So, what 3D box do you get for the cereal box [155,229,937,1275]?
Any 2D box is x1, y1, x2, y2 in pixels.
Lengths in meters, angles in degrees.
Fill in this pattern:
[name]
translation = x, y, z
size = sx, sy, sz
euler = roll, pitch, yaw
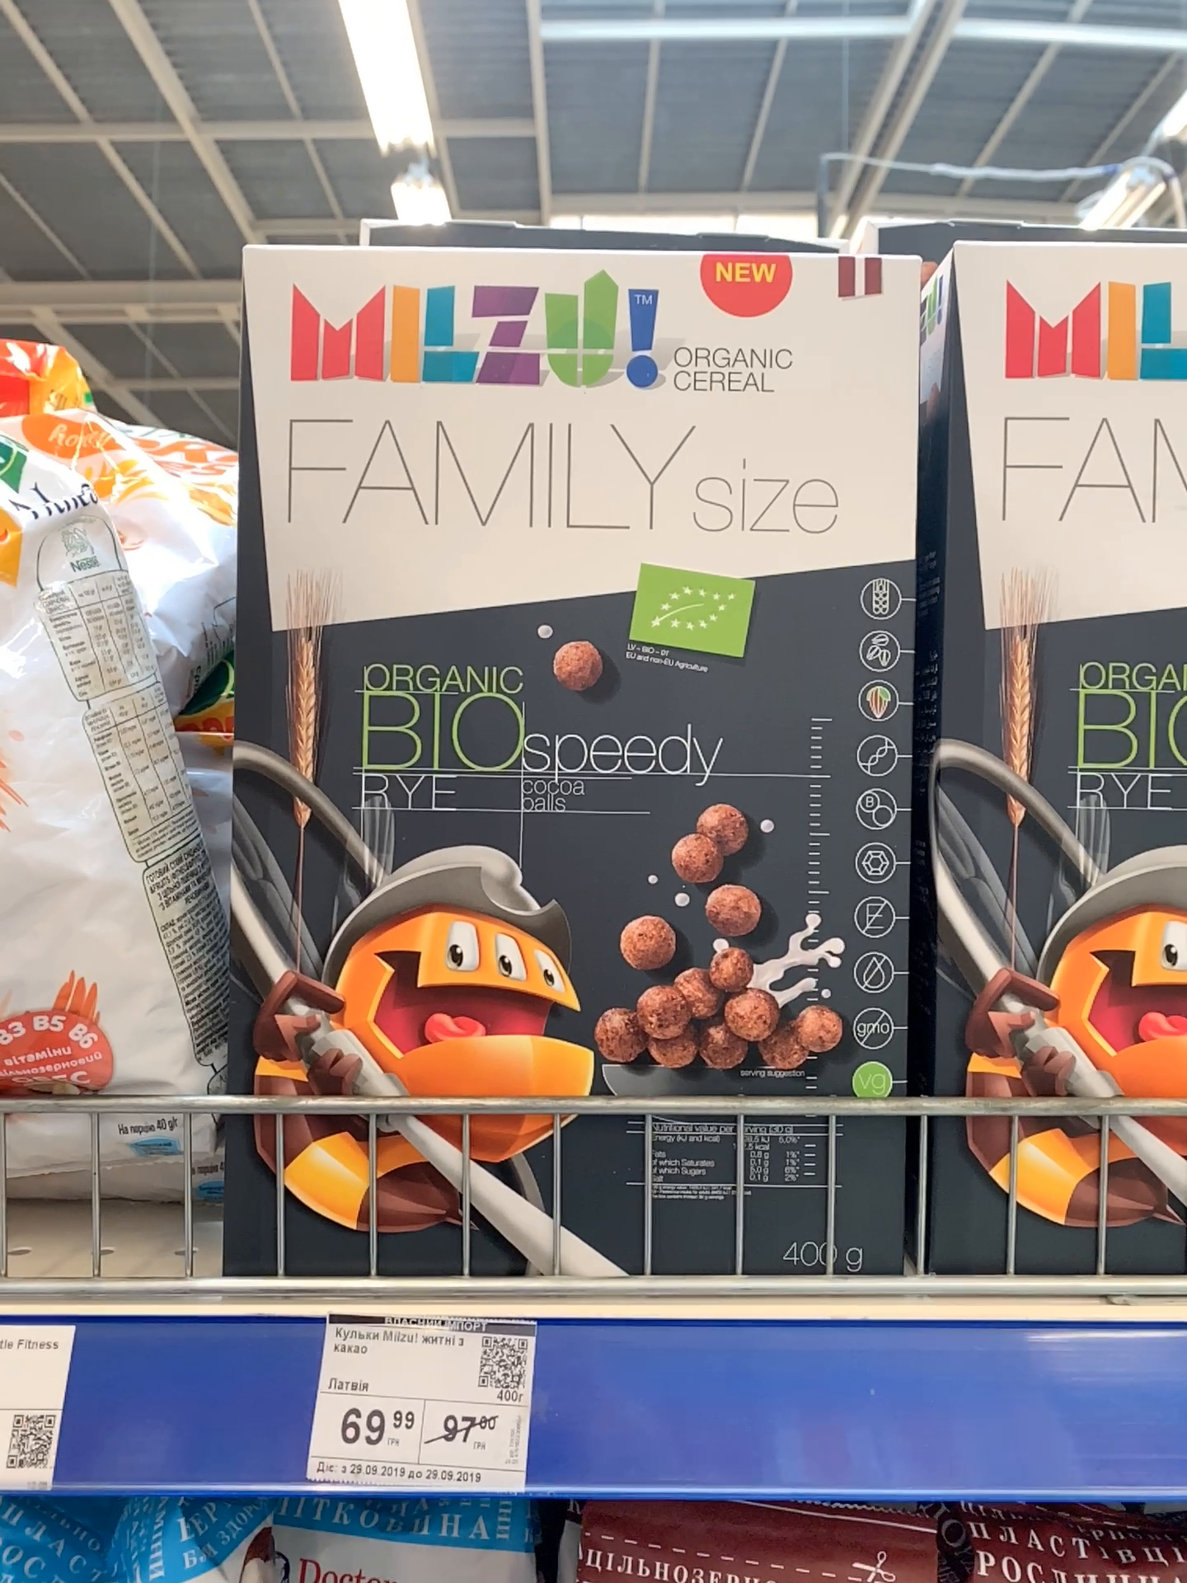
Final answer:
[cereal box]
translation = -0.014, -0.010, 0.361
size = 0.200, 0.270, 0.080
euler = 1, 2, -1
